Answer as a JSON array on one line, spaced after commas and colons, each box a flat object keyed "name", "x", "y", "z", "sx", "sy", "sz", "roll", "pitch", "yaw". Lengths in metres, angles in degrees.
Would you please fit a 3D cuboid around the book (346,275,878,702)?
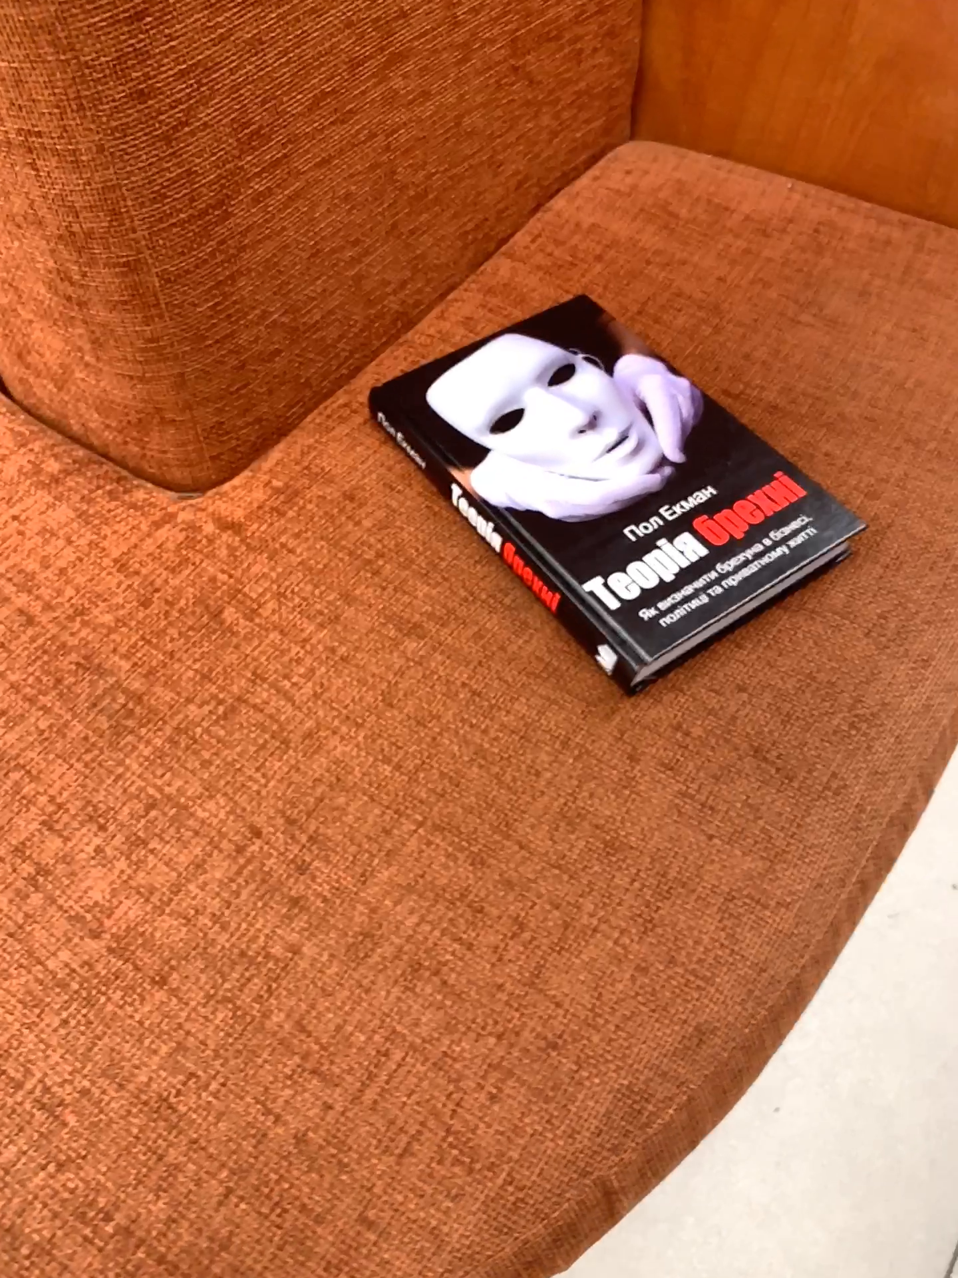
[{"name": "book", "x": 0.056, "y": -0.087, "z": 0.477, "sx": 0.150, "sy": 0.030, "sz": 0.209, "roll": -31, "pitch": 59, "yaw": -19}]
